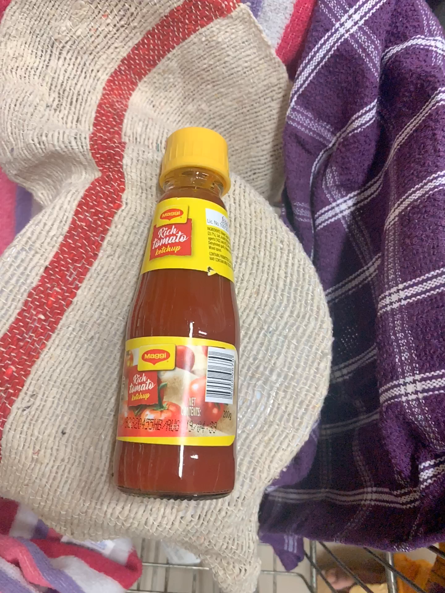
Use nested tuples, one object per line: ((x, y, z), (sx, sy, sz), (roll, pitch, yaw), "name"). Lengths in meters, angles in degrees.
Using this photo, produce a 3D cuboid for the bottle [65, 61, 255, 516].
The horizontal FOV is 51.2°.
((-0.020, -0.006, 0.199), (0.050, 0.050, 0.170), (-5, 74, 24), "bottle")
